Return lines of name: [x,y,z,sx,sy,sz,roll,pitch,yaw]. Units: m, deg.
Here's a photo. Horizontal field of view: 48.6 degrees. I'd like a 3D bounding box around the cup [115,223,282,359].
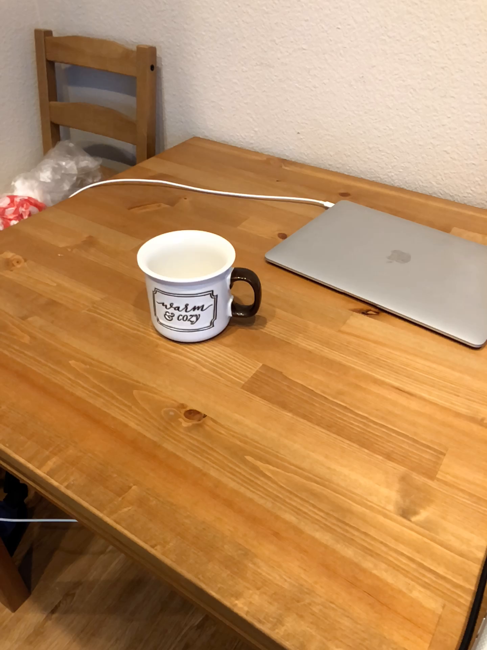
cup: [-0.044,-0.043,0.607,0.150,0.080,0.120,9,39,11]
